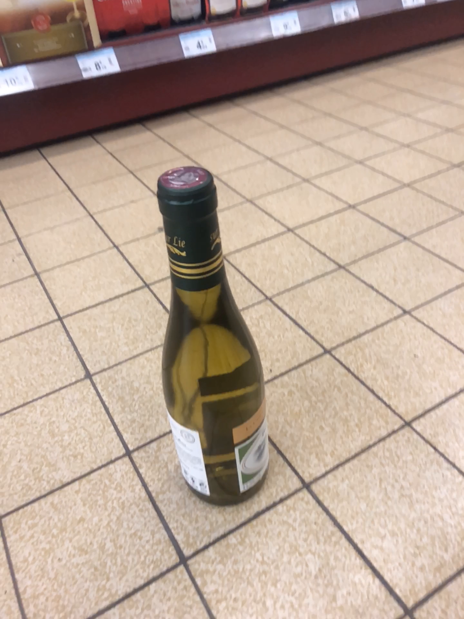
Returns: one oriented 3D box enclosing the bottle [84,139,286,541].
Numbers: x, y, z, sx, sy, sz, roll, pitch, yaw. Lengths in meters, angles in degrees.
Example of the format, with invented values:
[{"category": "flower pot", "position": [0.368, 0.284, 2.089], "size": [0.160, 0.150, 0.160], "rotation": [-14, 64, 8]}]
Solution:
[{"category": "bottle", "position": [-0.017, 0.034, 0.310], "size": [0.080, 0.238, 0.080], "rotation": [-3, 38, 3]}]
